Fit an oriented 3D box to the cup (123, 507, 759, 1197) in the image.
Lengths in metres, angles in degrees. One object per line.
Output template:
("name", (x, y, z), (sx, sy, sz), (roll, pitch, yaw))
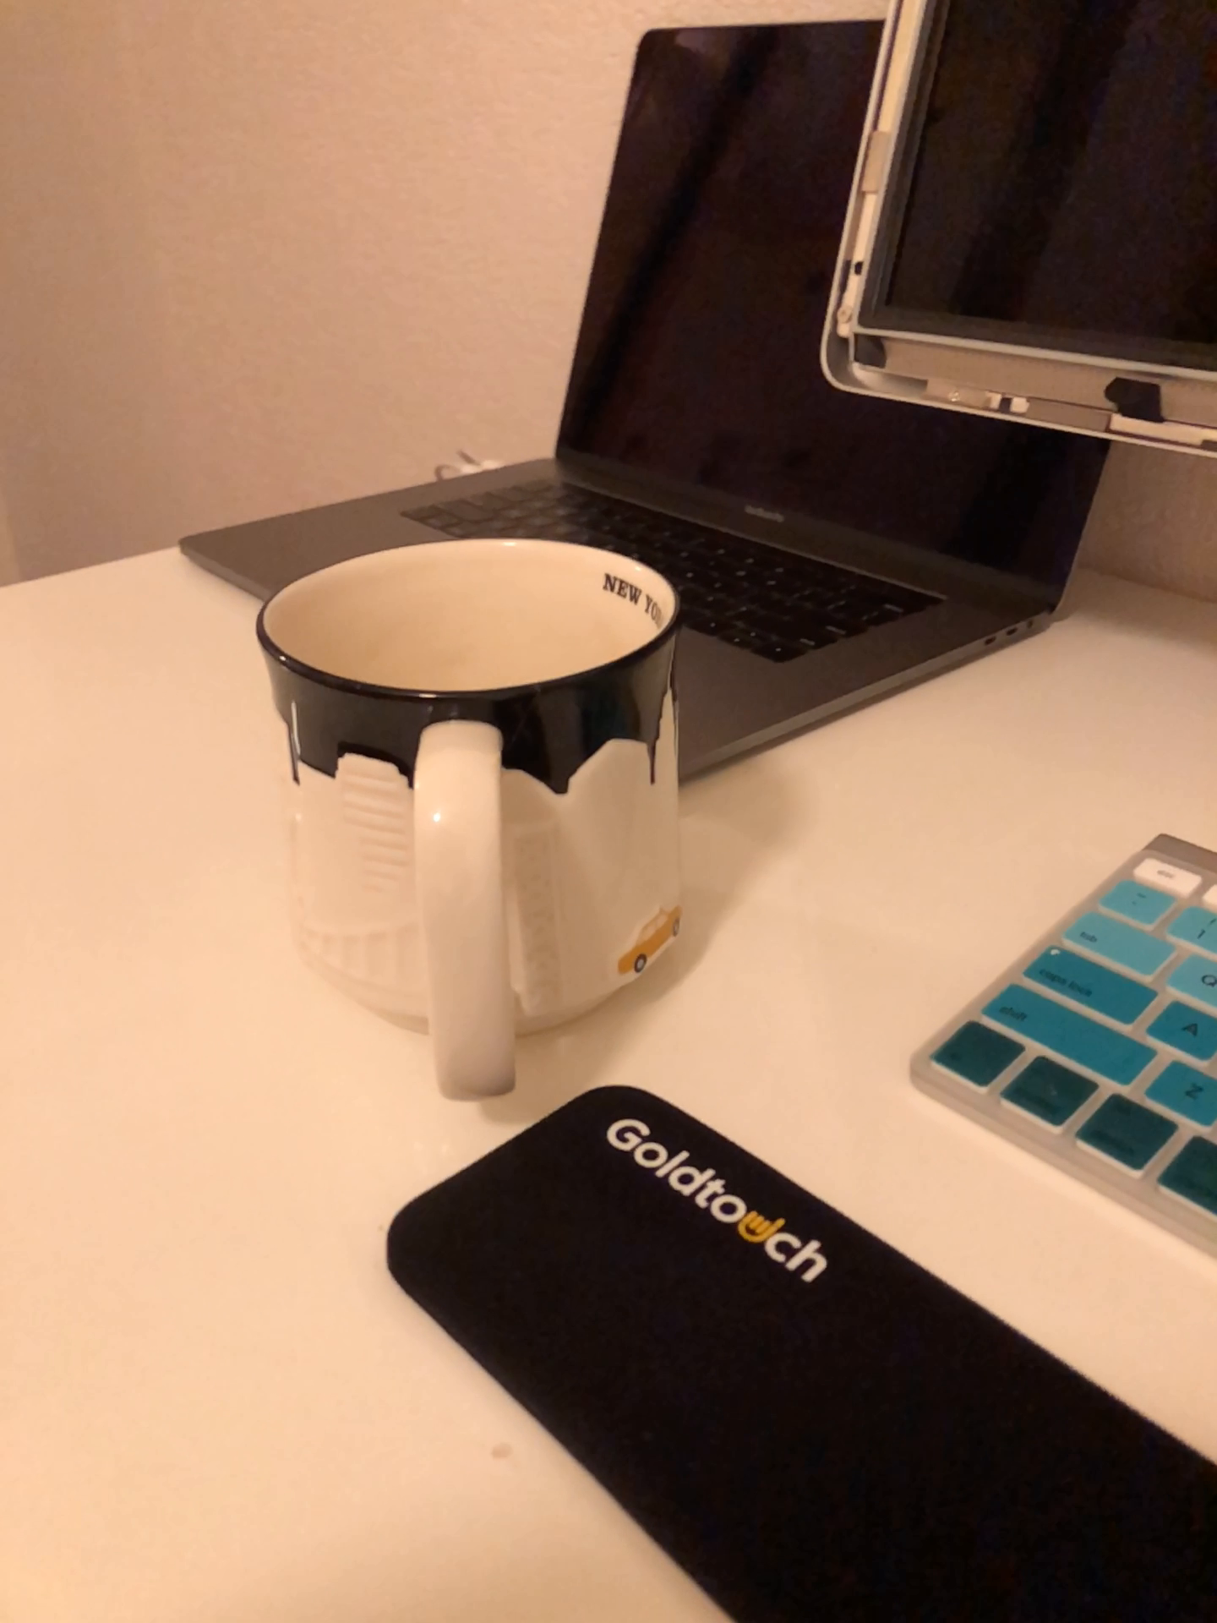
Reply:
("cup", (-0.037, -0.004, 0.324), (0.110, 0.089, 0.161), (-4, 29, -5))
